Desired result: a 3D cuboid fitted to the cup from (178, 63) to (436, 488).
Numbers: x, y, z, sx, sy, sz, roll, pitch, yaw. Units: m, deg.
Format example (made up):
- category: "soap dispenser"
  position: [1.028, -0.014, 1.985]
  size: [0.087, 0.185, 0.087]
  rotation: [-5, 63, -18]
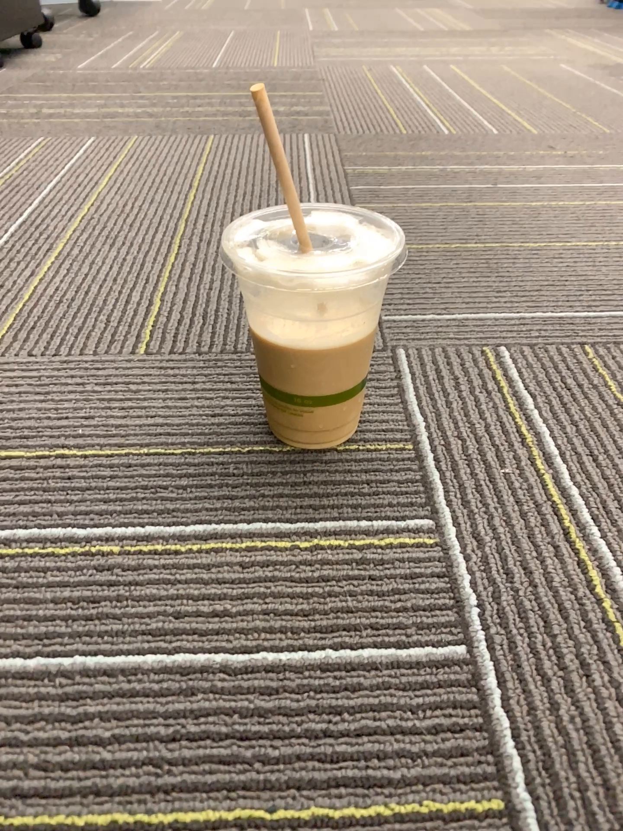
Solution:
- category: "cup"
  position: [0.004, -0.070, 0.338]
  size: [0.090, 0.189, 0.090]
  rotation: [0, 37, 0]
